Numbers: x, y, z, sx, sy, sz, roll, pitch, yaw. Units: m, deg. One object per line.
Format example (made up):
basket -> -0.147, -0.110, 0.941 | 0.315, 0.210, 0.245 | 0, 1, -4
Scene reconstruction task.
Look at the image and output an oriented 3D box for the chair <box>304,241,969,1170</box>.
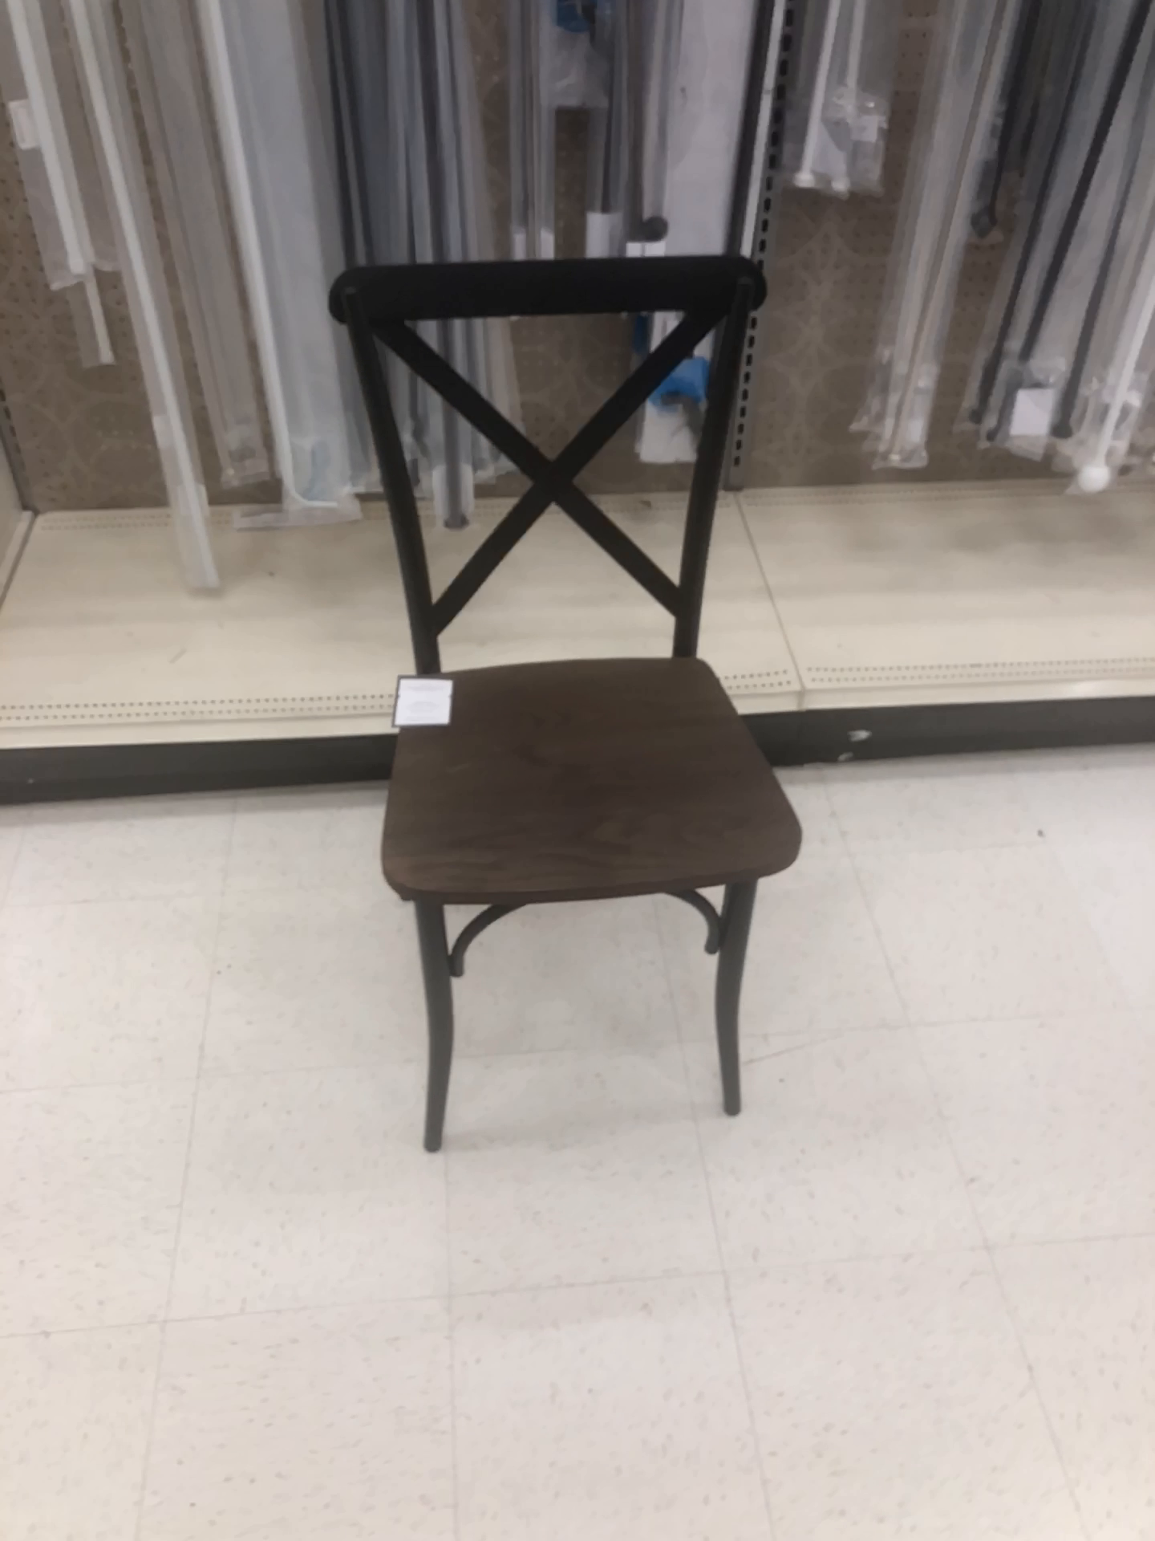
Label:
chair -> 0.007, -0.048, 1.366 | 0.475, 0.811, 0.528 | -4, 43, -6
